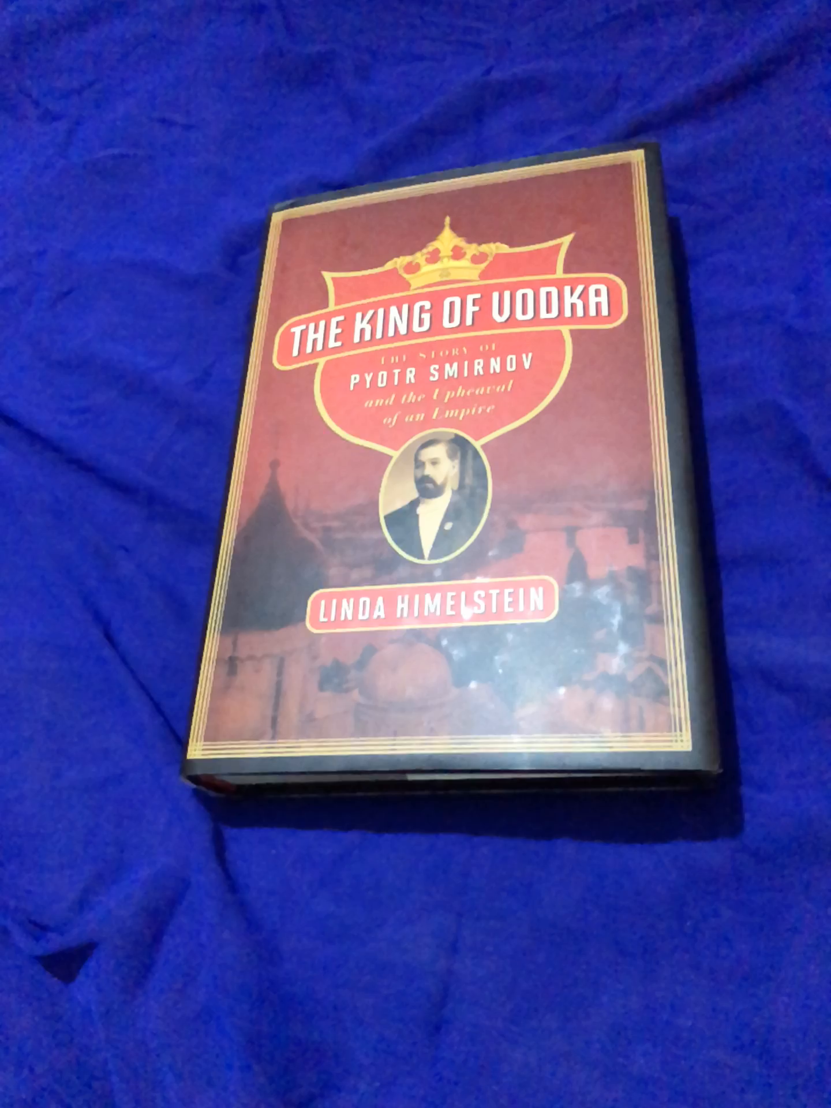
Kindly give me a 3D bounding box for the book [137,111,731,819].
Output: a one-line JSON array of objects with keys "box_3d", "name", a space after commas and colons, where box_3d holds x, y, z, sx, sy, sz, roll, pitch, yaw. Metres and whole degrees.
[{"box_3d": [0.010, -0.038, 0.336, 0.170, 0.050, 0.250, -5, 62, 14], "name": "book"}]
